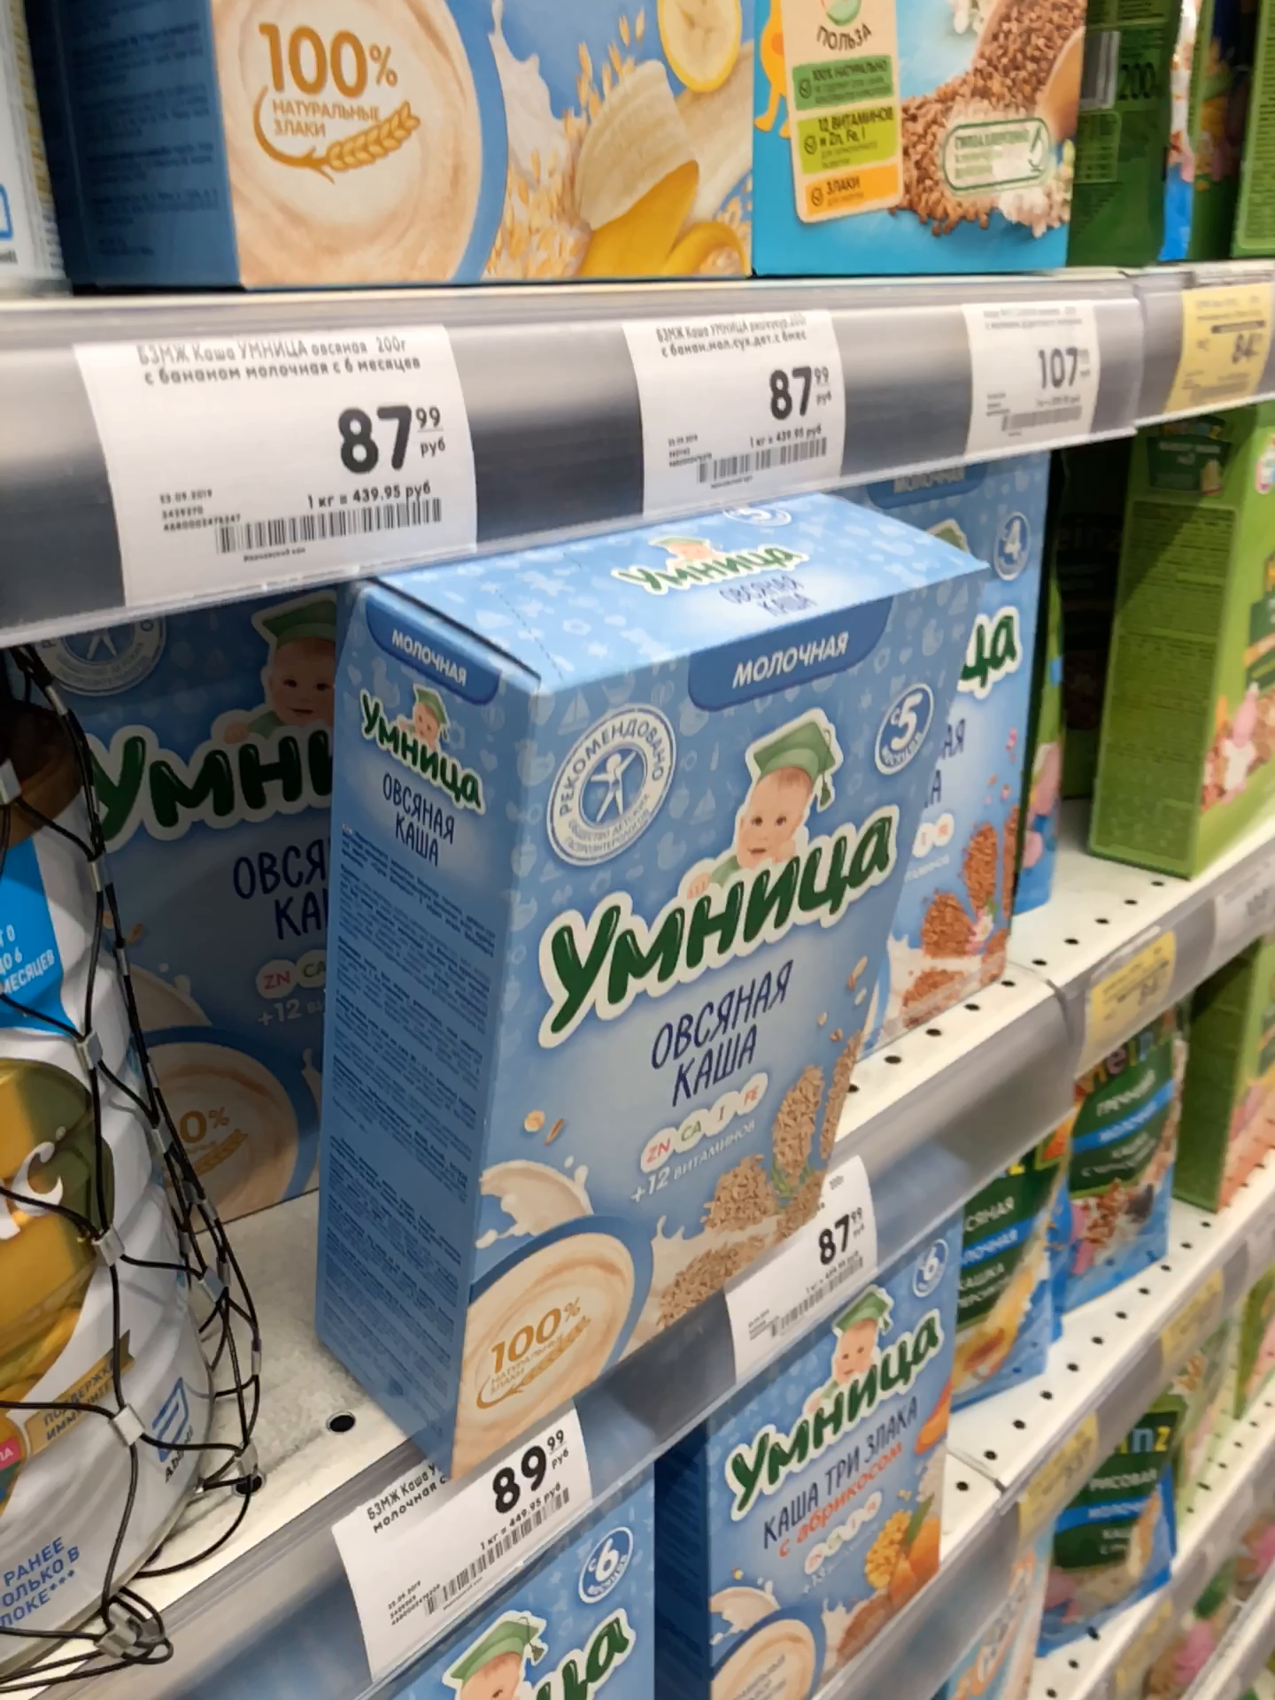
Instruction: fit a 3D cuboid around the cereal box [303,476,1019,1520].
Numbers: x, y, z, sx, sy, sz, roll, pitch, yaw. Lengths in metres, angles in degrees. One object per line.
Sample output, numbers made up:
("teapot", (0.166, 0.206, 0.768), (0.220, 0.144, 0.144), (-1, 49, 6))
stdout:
("cereal box", (0.000, 0.030, 0.334), (0.060, 0.209, 0.140), (31, 36, 35))
